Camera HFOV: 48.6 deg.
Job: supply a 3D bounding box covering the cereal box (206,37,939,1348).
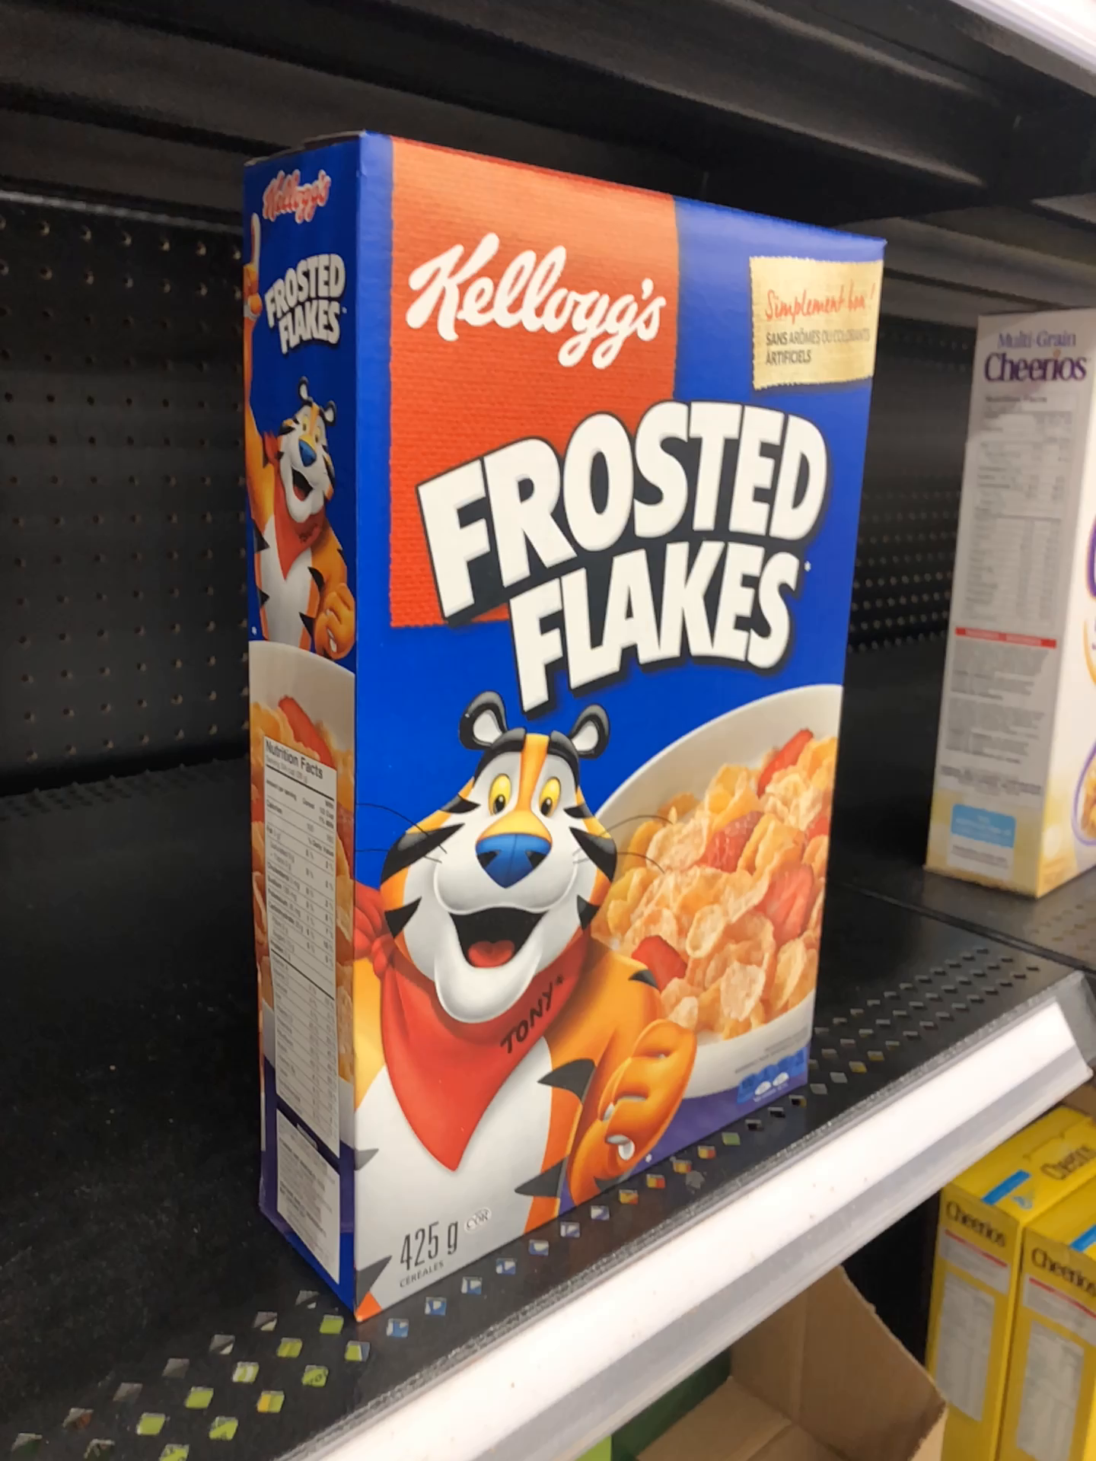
[{"bbox_3d":[0.017,-0.012,0.353,0.210,0.289,0.060,-10,18,-42],"label":"cereal box"}]
